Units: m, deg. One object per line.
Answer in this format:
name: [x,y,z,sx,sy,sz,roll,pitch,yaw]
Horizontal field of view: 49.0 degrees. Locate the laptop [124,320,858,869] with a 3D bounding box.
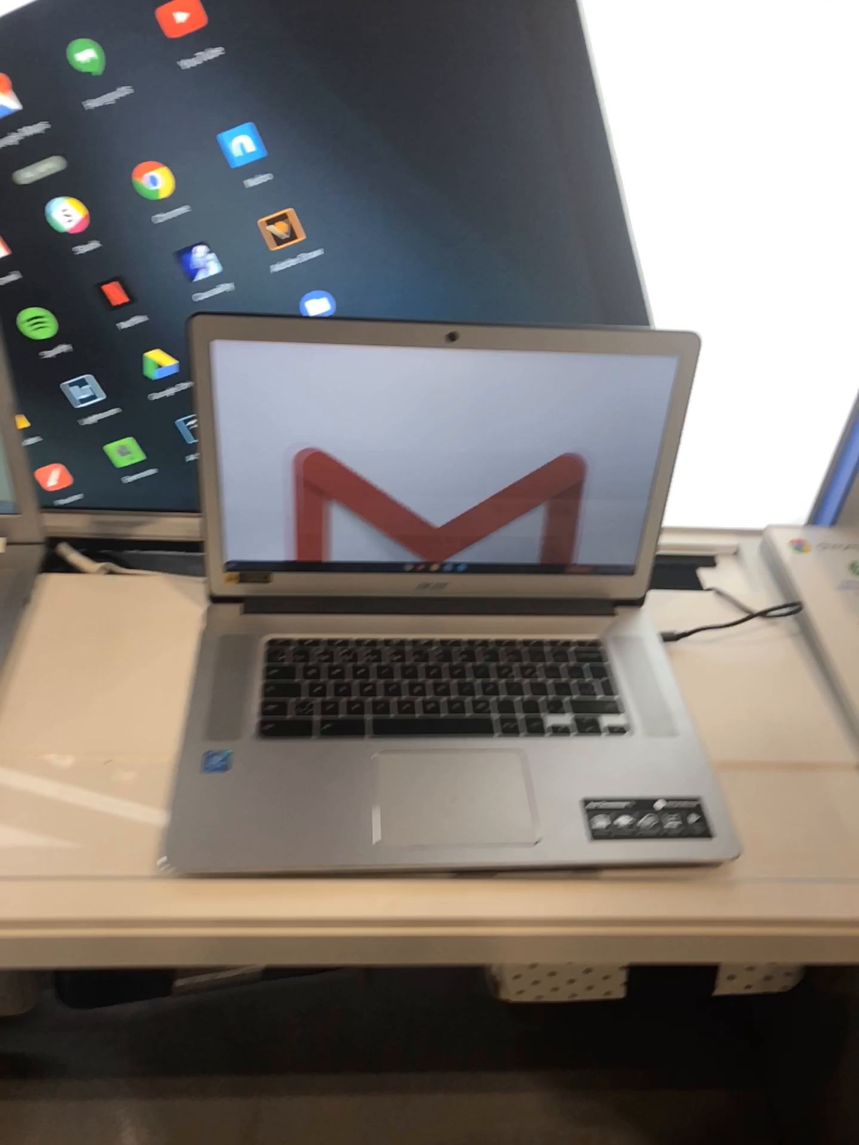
laptop: [0.018,0.007,0.652,0.371,0.243,0.283,1,39,-7]
